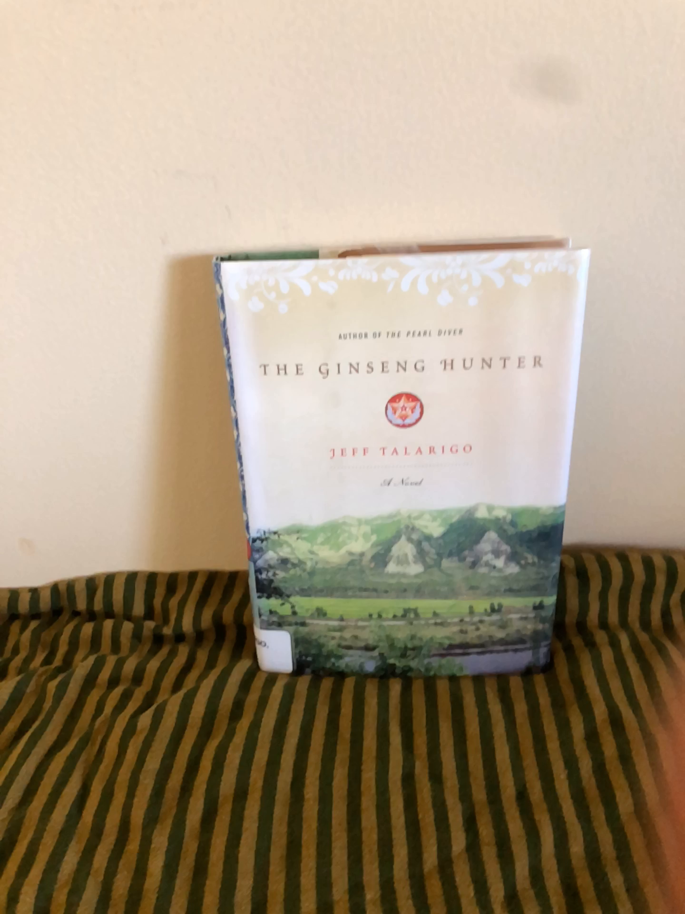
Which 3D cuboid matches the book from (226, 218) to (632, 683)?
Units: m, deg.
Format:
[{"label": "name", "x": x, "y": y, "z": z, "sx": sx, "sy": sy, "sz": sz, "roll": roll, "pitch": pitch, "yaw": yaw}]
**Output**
[{"label": "book", "x": 0.030, "y": 0.008, "z": 0.320, "sx": 0.137, "sy": 0.203, "sz": 0.029, "roll": -1, "pitch": 30, "yaw": -2}]
